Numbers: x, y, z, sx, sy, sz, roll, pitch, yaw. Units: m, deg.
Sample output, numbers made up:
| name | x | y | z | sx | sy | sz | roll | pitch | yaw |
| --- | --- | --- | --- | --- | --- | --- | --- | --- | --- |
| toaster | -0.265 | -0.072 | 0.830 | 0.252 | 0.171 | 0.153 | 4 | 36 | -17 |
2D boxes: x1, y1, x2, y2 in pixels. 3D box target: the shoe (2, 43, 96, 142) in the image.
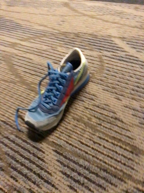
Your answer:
| name | x | y | z | sx | sy | sz | roll | pitch | yaw |
| --- | --- | --- | --- | --- | --- | --- | --- | --- | --- |
| shoe | -0.043 | -0.024 | 0.438 | 0.101 | 0.095 | 0.260 | 23 | 60 | 26 |
